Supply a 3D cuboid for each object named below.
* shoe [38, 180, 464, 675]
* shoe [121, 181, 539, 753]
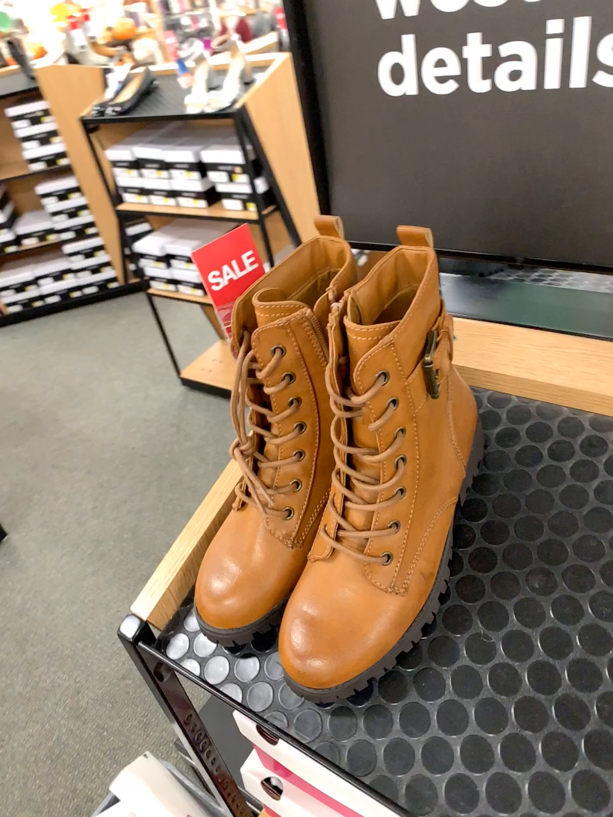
[{"bbox_3d":[-0.003,0.002,0.458,0.090,0.229,0.276,22,49,38],"label":"shoe"},{"bbox_3d":[0.055,0.017,0.418,0.110,0.229,0.287,12,44,30],"label":"shoe"}]
